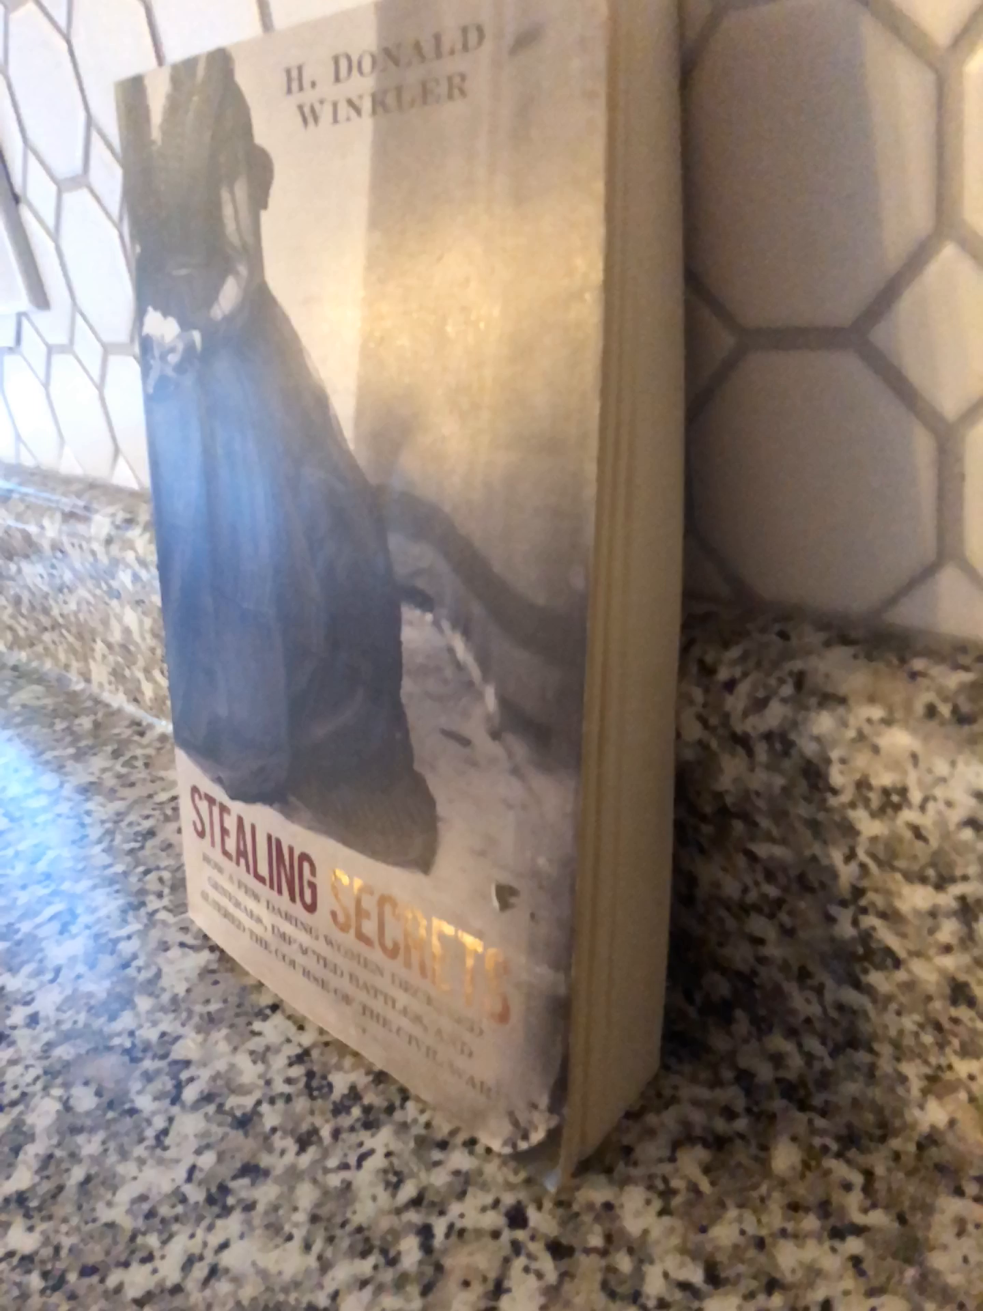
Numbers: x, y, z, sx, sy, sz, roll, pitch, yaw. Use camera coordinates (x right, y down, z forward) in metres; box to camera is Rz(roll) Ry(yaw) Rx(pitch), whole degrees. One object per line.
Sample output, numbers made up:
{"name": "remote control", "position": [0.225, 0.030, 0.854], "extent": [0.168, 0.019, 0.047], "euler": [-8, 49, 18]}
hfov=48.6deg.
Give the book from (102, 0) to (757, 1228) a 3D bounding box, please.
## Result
{"name": "book", "position": [-0.024, -0.018, 0.252], "extent": [0.041, 0.225, 0.162], "euler": [-14, 20, -41]}
